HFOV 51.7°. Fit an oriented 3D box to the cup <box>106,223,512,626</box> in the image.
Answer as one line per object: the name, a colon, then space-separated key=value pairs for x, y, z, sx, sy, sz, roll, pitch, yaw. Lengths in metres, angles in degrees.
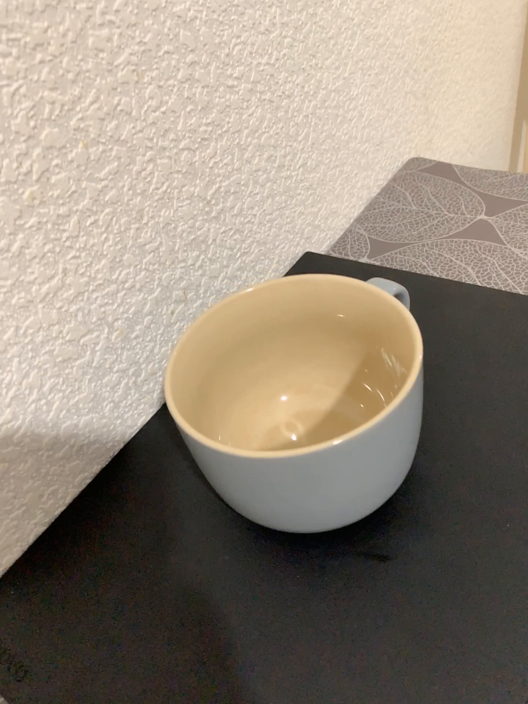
cup: x=0.026 y=0.020 z=0.250 sx=0.111 sy=0.079 sz=0.133 roll=24 pitch=55 yaw=36
